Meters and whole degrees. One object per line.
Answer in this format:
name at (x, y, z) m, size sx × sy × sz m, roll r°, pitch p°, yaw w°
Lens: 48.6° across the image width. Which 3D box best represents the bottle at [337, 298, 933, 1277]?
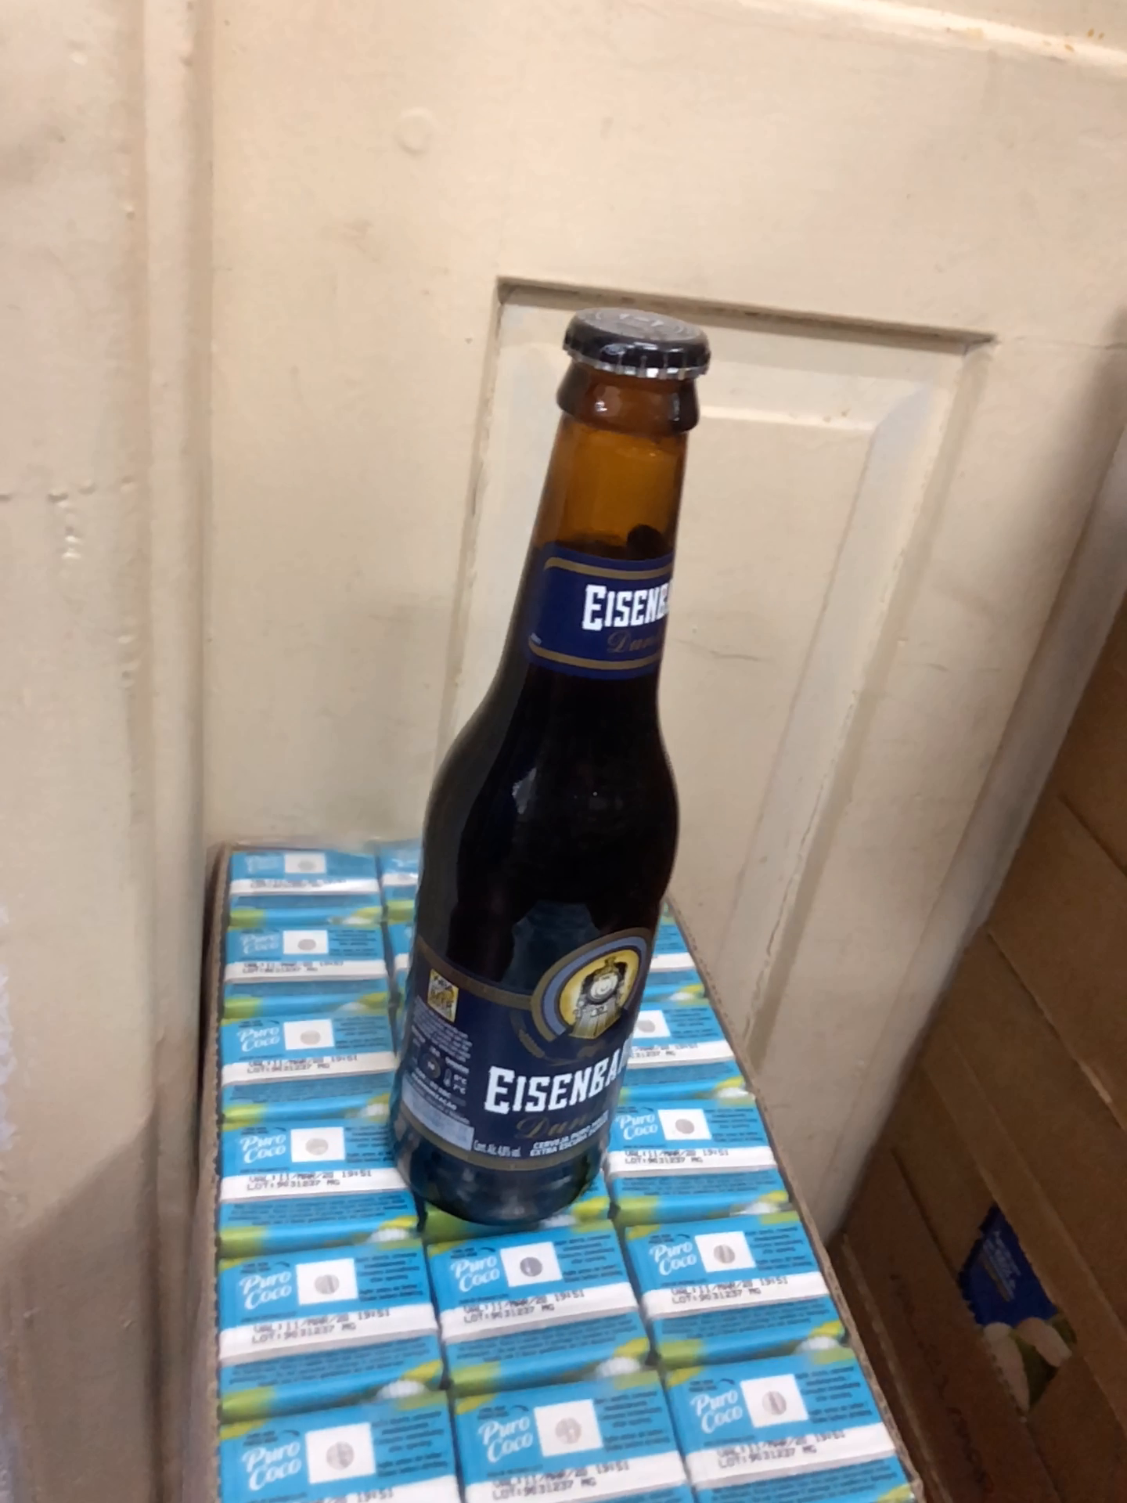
bottle at (0.002, 0.014, 0.267) m, size 0.070 × 0.198 × 0.060 m, roll -12°, pitch 39°, yaw -31°
